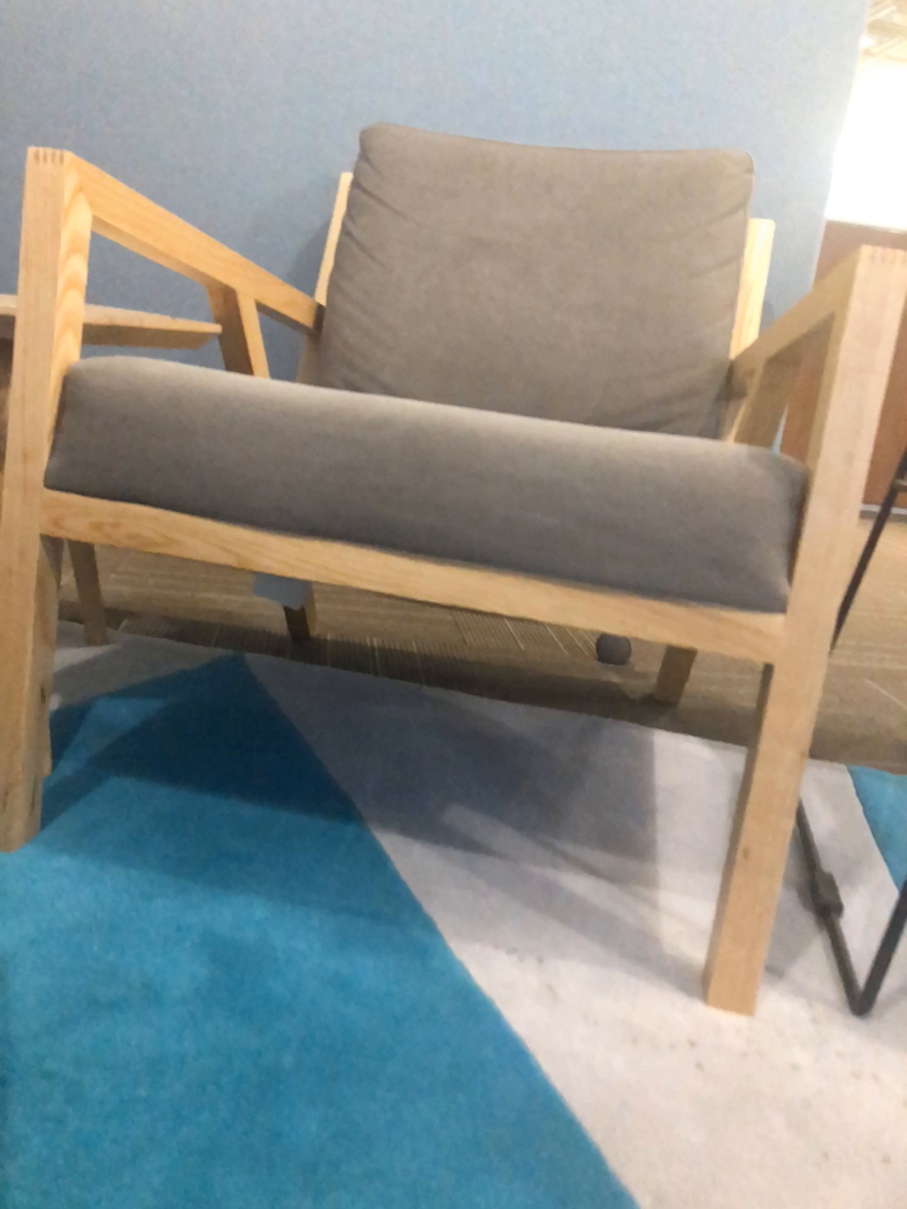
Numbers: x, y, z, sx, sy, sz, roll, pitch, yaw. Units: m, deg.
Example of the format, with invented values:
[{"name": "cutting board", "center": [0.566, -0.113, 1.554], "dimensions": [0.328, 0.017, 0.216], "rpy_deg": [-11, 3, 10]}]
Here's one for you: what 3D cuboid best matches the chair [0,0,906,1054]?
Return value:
[{"name": "chair", "center": [0.034, -0.198, 1.070], "dimensions": [0.710, 0.746, 0.845], "rpy_deg": [9, 15, 8]}]
